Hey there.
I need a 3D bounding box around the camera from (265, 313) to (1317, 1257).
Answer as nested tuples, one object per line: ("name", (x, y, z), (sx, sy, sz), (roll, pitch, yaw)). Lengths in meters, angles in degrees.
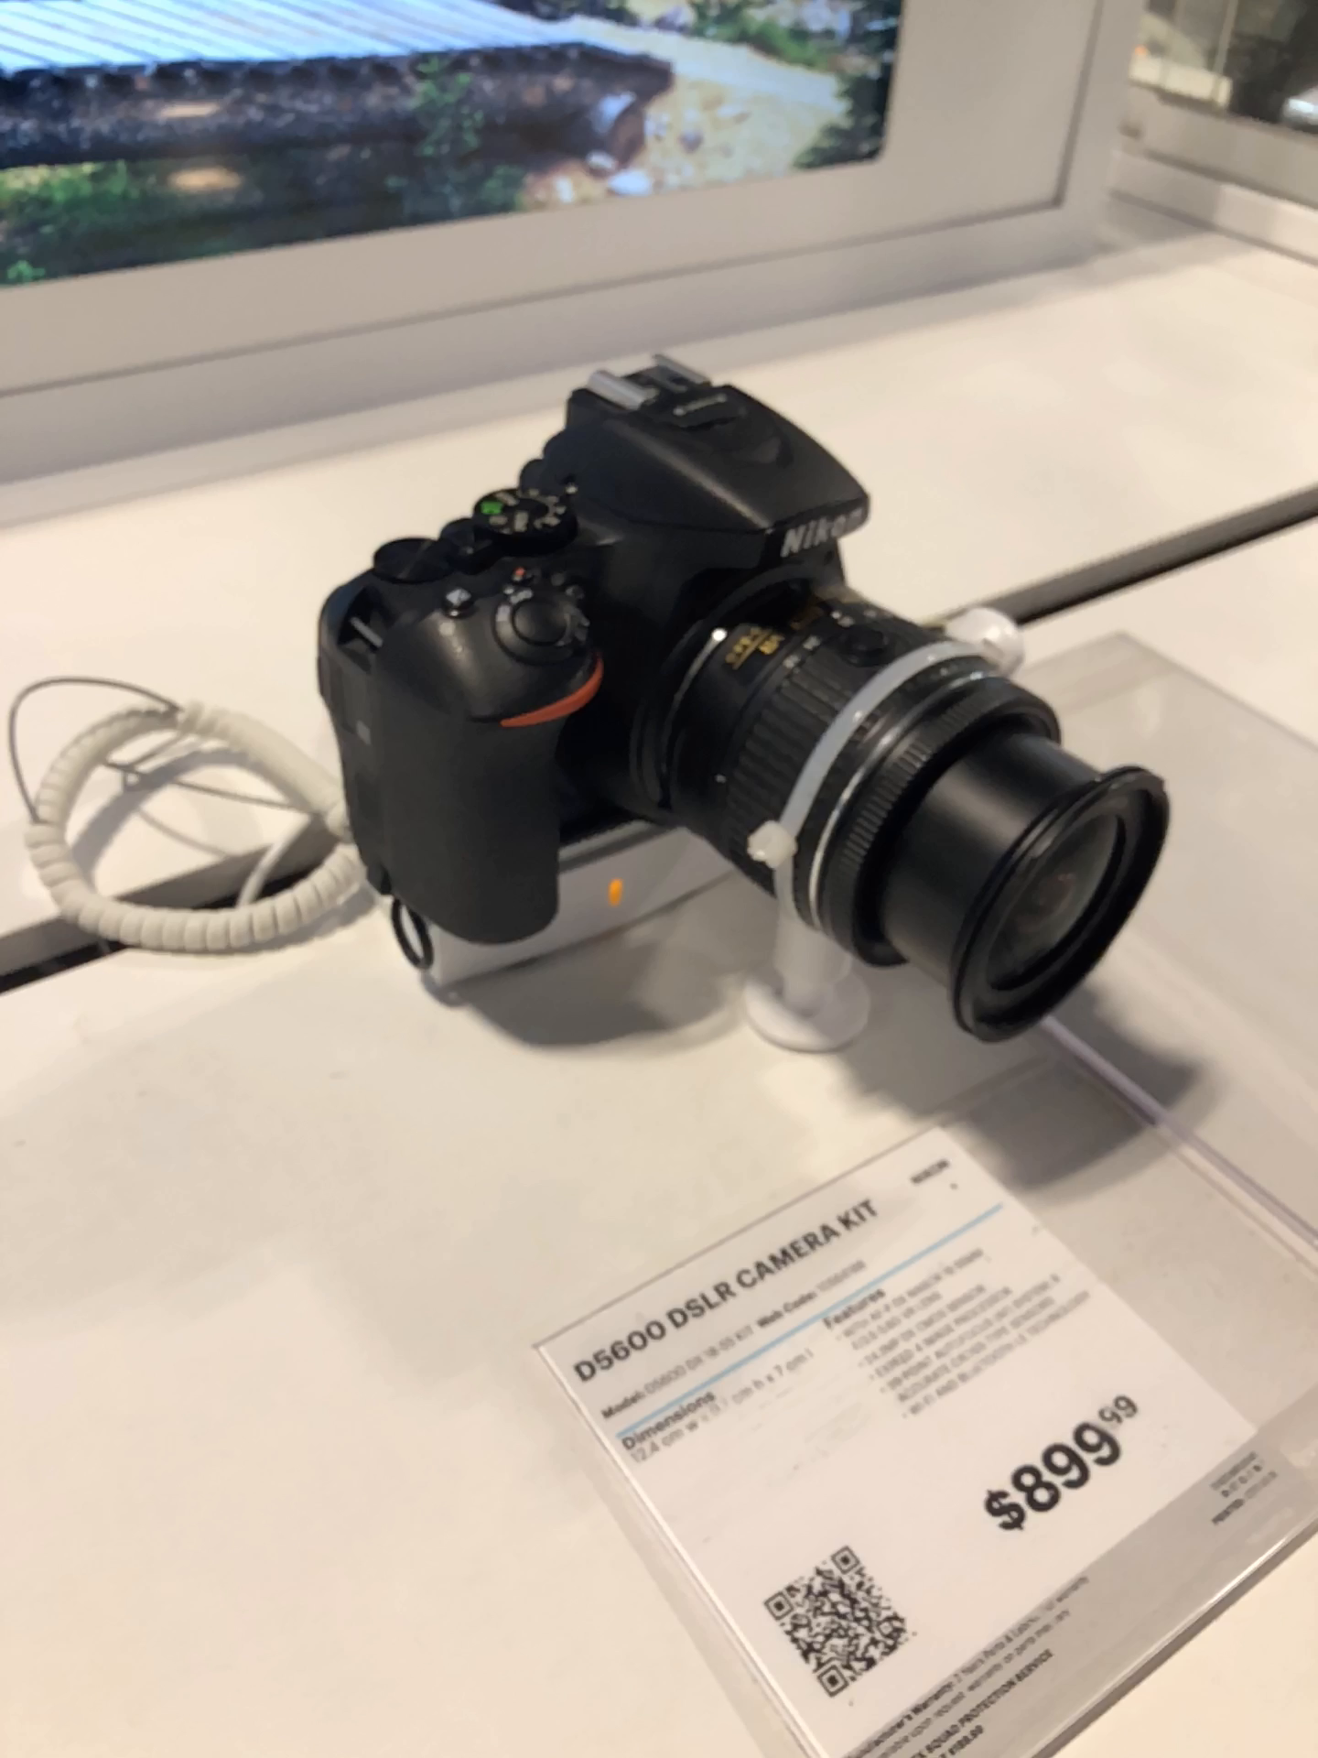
("camera", (0.022, -0.033, 0.290), (0.130, 0.089, 0.141), (-28, 48, -31))
